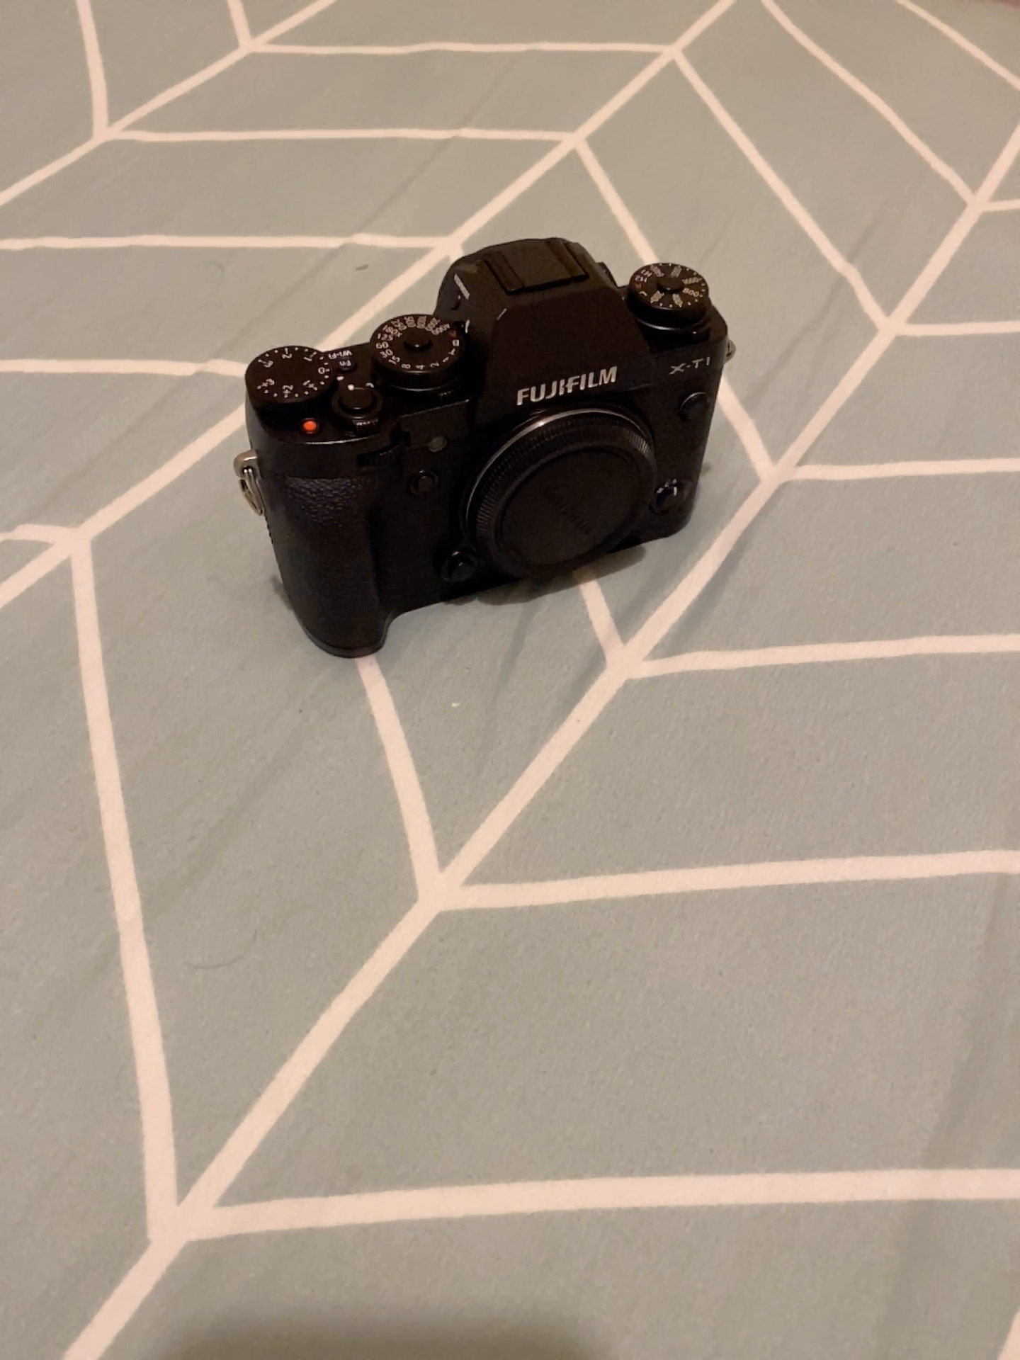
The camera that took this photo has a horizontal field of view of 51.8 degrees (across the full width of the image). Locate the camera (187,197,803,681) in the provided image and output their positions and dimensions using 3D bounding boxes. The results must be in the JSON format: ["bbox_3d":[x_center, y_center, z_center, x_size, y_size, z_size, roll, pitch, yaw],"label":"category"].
[{"bbox_3d":[-0.003,-0.066,0.291,0.142,0.082,0.054,-19,56,-13],"label":"camera"}]
